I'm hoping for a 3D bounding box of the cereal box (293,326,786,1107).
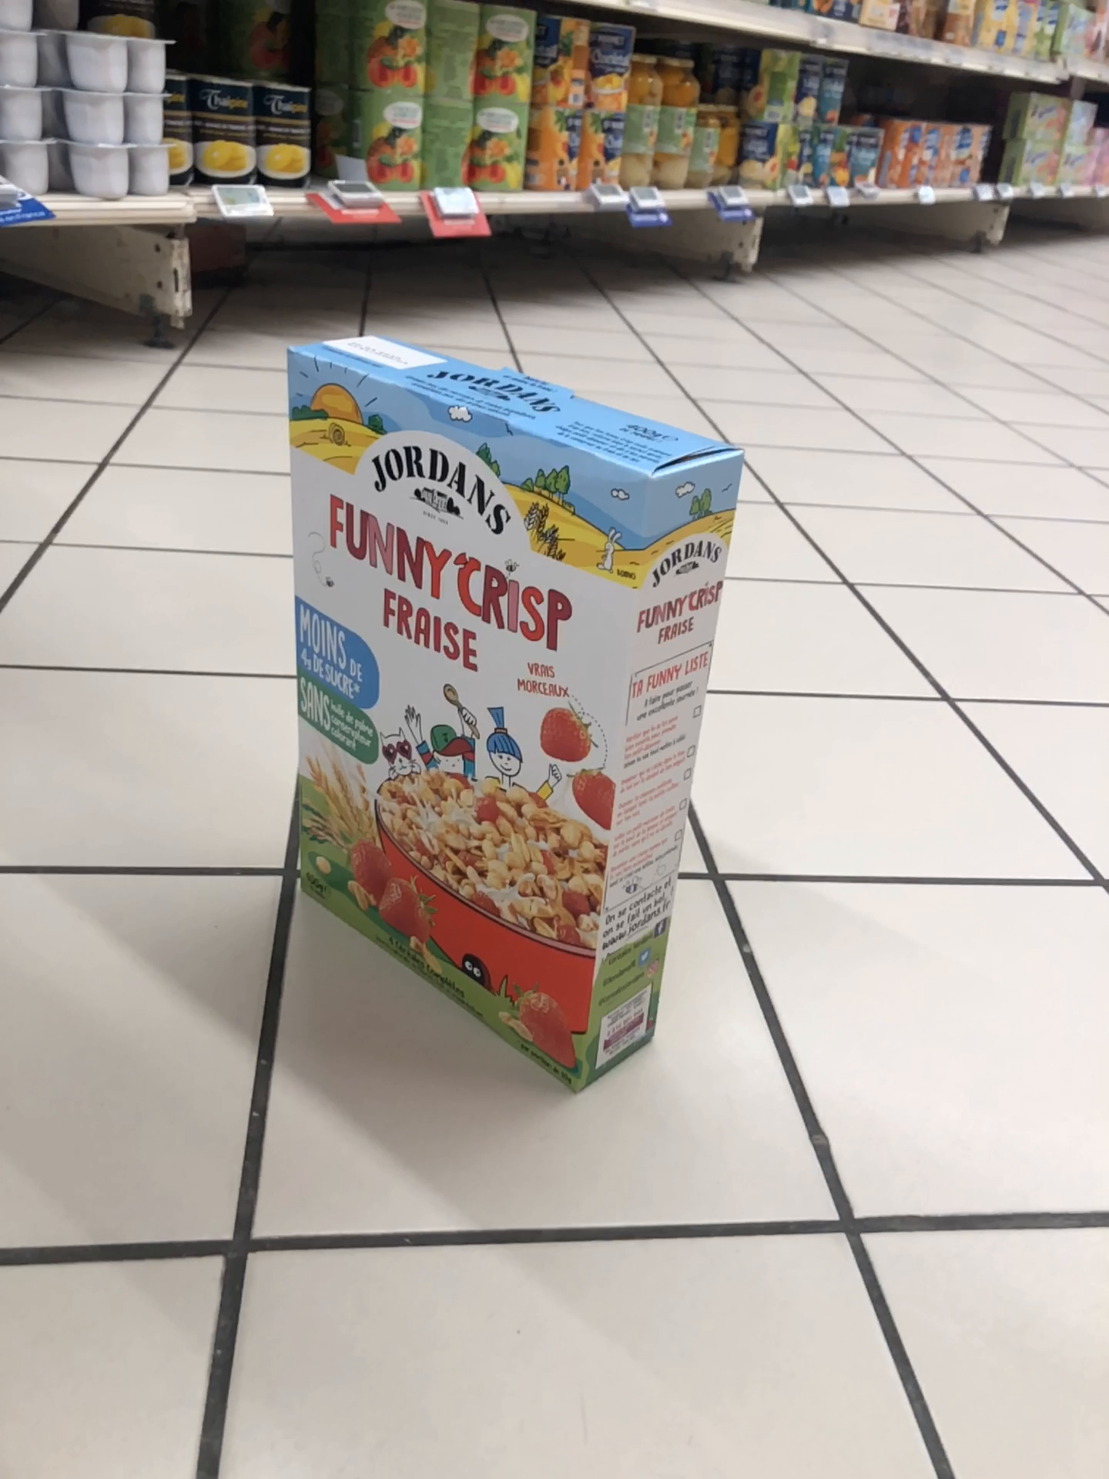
[{"bbox_3d":[-0.022,-0.012,0.439,0.170,0.229,0.050,28,34,35],"label":"cereal box"}]
